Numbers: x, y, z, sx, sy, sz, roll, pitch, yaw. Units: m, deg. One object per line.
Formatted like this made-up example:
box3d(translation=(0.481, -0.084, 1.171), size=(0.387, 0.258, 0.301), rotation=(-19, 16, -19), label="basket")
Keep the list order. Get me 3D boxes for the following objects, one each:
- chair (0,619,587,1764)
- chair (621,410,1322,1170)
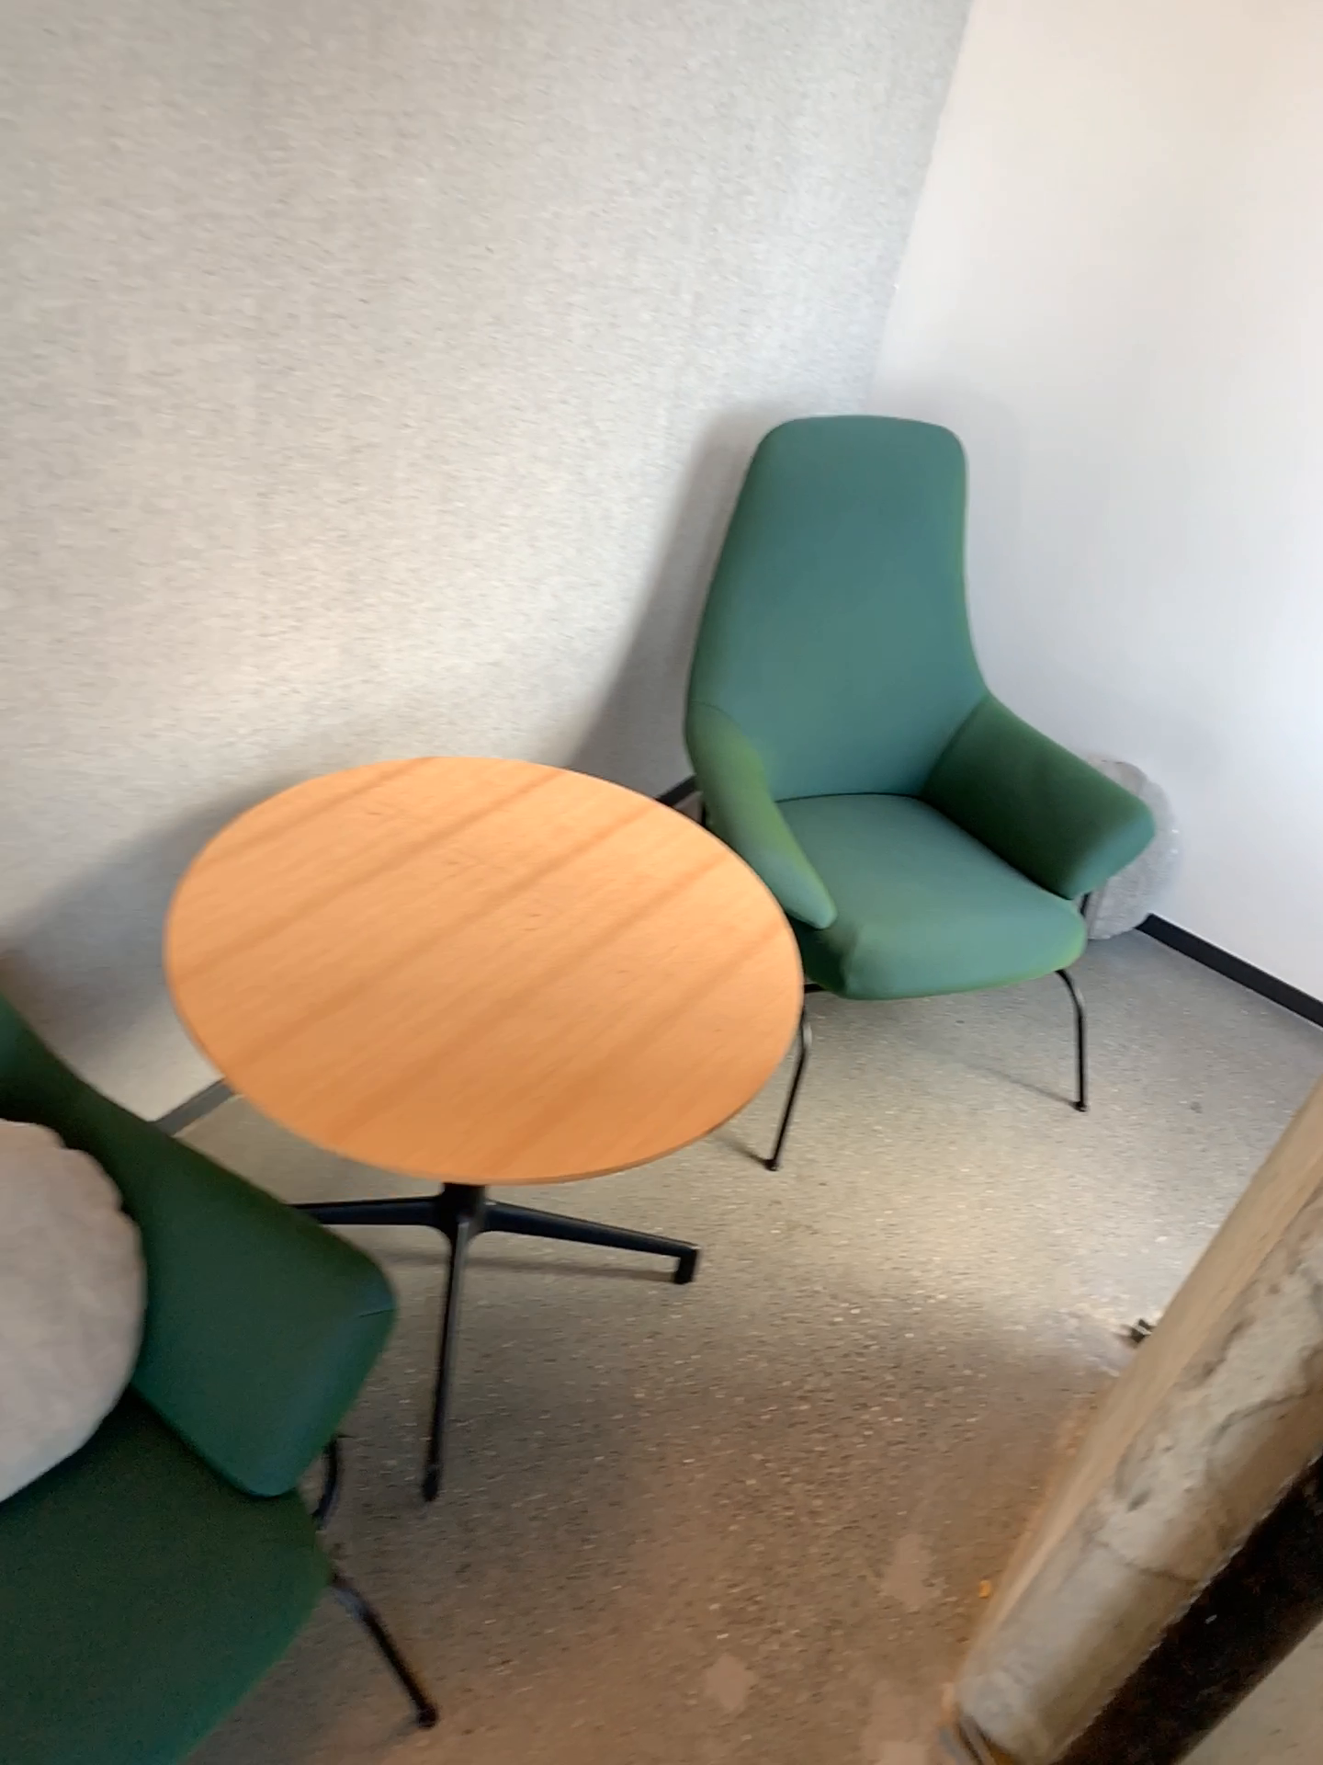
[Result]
box3d(translation=(-0.678, 0.461, 1.265), size=(0.842, 0.994, 0.722), rotation=(33, 42, 27), label="chair")
box3d(translation=(0.429, -0.177, 2.363), size=(0.650, 1.014, 0.754), rotation=(-6, 39, -22), label="chair")
